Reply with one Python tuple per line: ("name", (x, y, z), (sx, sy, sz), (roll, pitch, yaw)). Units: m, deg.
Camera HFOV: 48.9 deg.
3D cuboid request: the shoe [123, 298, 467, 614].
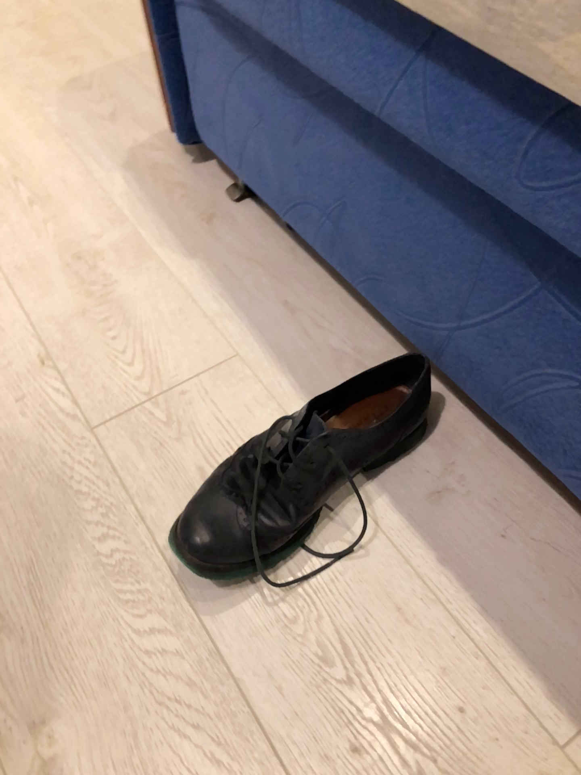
("shoe", (0.011, 0.046, 0.506), (0.251, 0.089, 0.096), (-34, 58, -22))
